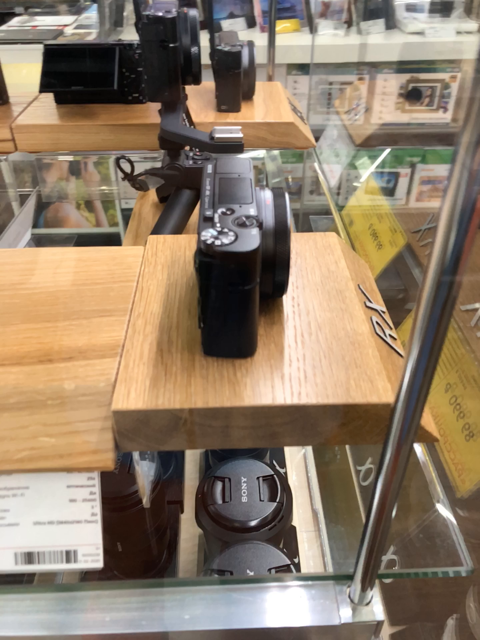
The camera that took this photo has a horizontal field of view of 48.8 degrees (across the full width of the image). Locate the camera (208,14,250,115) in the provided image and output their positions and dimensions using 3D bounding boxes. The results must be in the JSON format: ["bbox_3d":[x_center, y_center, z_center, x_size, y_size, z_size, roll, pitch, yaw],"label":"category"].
[{"bbox_3d":[-0.012,-0.280,0.571,0.040,0.070,0.143,-1,38,-1],"label":"camera"}]

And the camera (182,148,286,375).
[{"bbox_3d":[-0.004,-0.033,0.265,0.040,0.070,0.101,-1,38,-1],"label":"camera"}]
